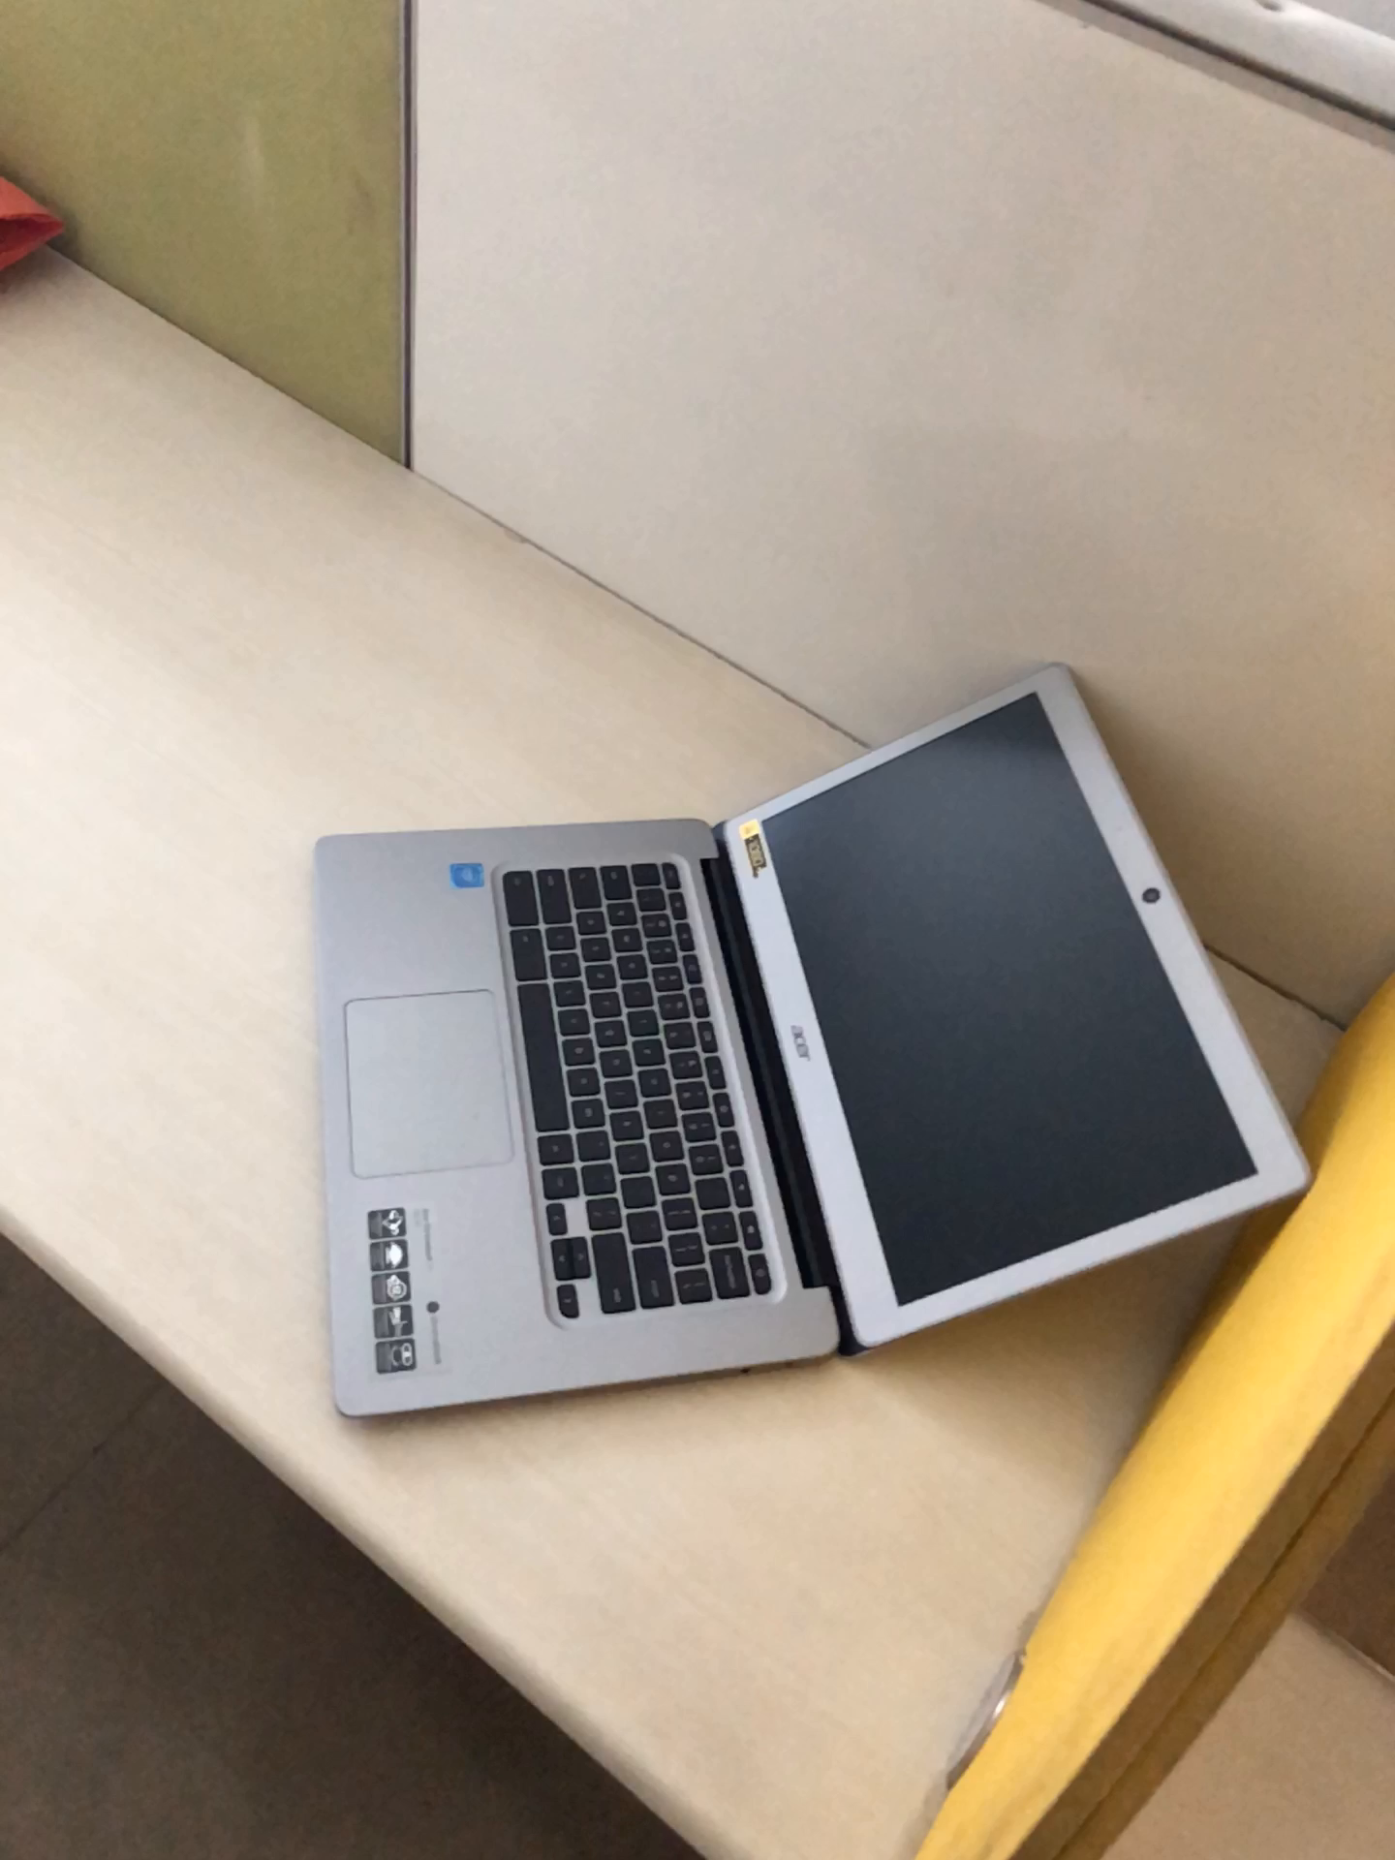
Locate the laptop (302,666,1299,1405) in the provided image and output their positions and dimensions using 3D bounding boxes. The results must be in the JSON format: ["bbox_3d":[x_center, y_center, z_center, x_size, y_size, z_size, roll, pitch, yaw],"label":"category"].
[{"bbox_3d":[0.021,0.031,0.758,0.409,0.123,0.321,-4,52,-11],"label":"laptop"}]
